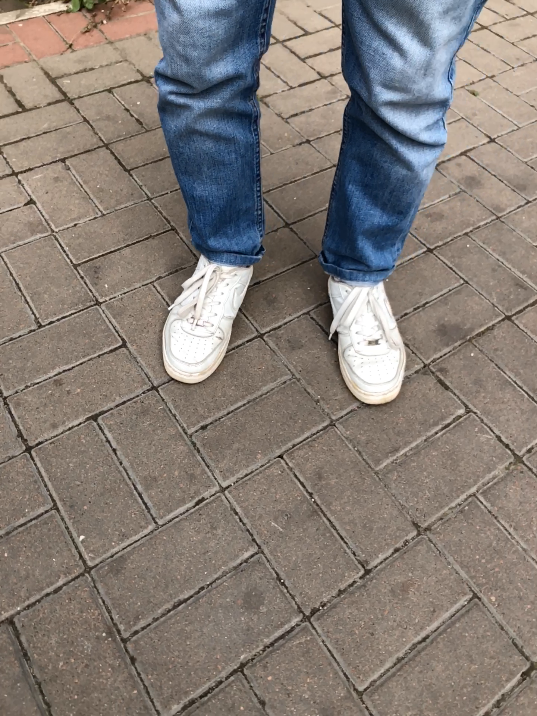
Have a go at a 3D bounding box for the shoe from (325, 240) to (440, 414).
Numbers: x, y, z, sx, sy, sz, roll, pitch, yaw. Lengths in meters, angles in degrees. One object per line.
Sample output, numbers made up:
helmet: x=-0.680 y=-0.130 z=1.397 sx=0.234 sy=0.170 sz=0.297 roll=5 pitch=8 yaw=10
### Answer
shoe: x=0.175 y=-0.060 z=0.961 sx=0.110 sy=0.070 sz=0.302 roll=-4 pitch=54 yaw=-5

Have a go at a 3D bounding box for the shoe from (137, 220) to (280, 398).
shoe: x=-0.088 y=-0.091 z=0.966 sx=0.120 sy=0.070 sz=0.302 roll=17 pitch=55 yaw=10
